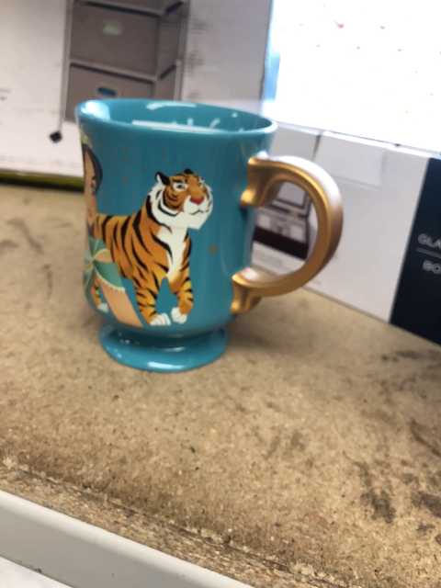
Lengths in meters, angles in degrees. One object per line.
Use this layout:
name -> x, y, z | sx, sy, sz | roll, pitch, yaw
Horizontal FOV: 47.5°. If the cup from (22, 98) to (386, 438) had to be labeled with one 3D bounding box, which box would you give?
cup -> -0.009, -0.028, 0.261 | 0.140, 0.120, 0.099 | 19, 29, 26
